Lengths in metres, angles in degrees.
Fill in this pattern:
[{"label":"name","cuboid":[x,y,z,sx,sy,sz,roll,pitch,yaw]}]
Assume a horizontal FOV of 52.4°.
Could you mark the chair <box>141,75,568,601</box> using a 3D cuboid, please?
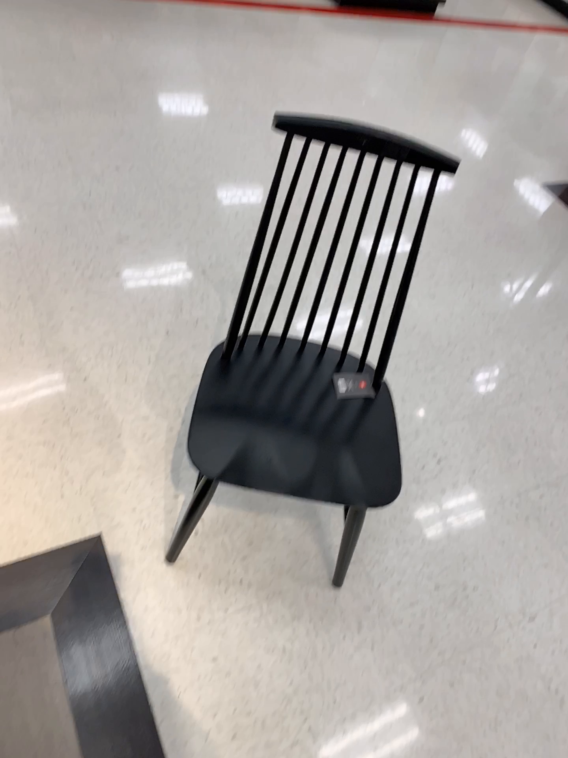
[{"label":"chair","cuboid":[0.044,0.000,1.268,0.530,0.945,0.553,13,48,-6]}]
